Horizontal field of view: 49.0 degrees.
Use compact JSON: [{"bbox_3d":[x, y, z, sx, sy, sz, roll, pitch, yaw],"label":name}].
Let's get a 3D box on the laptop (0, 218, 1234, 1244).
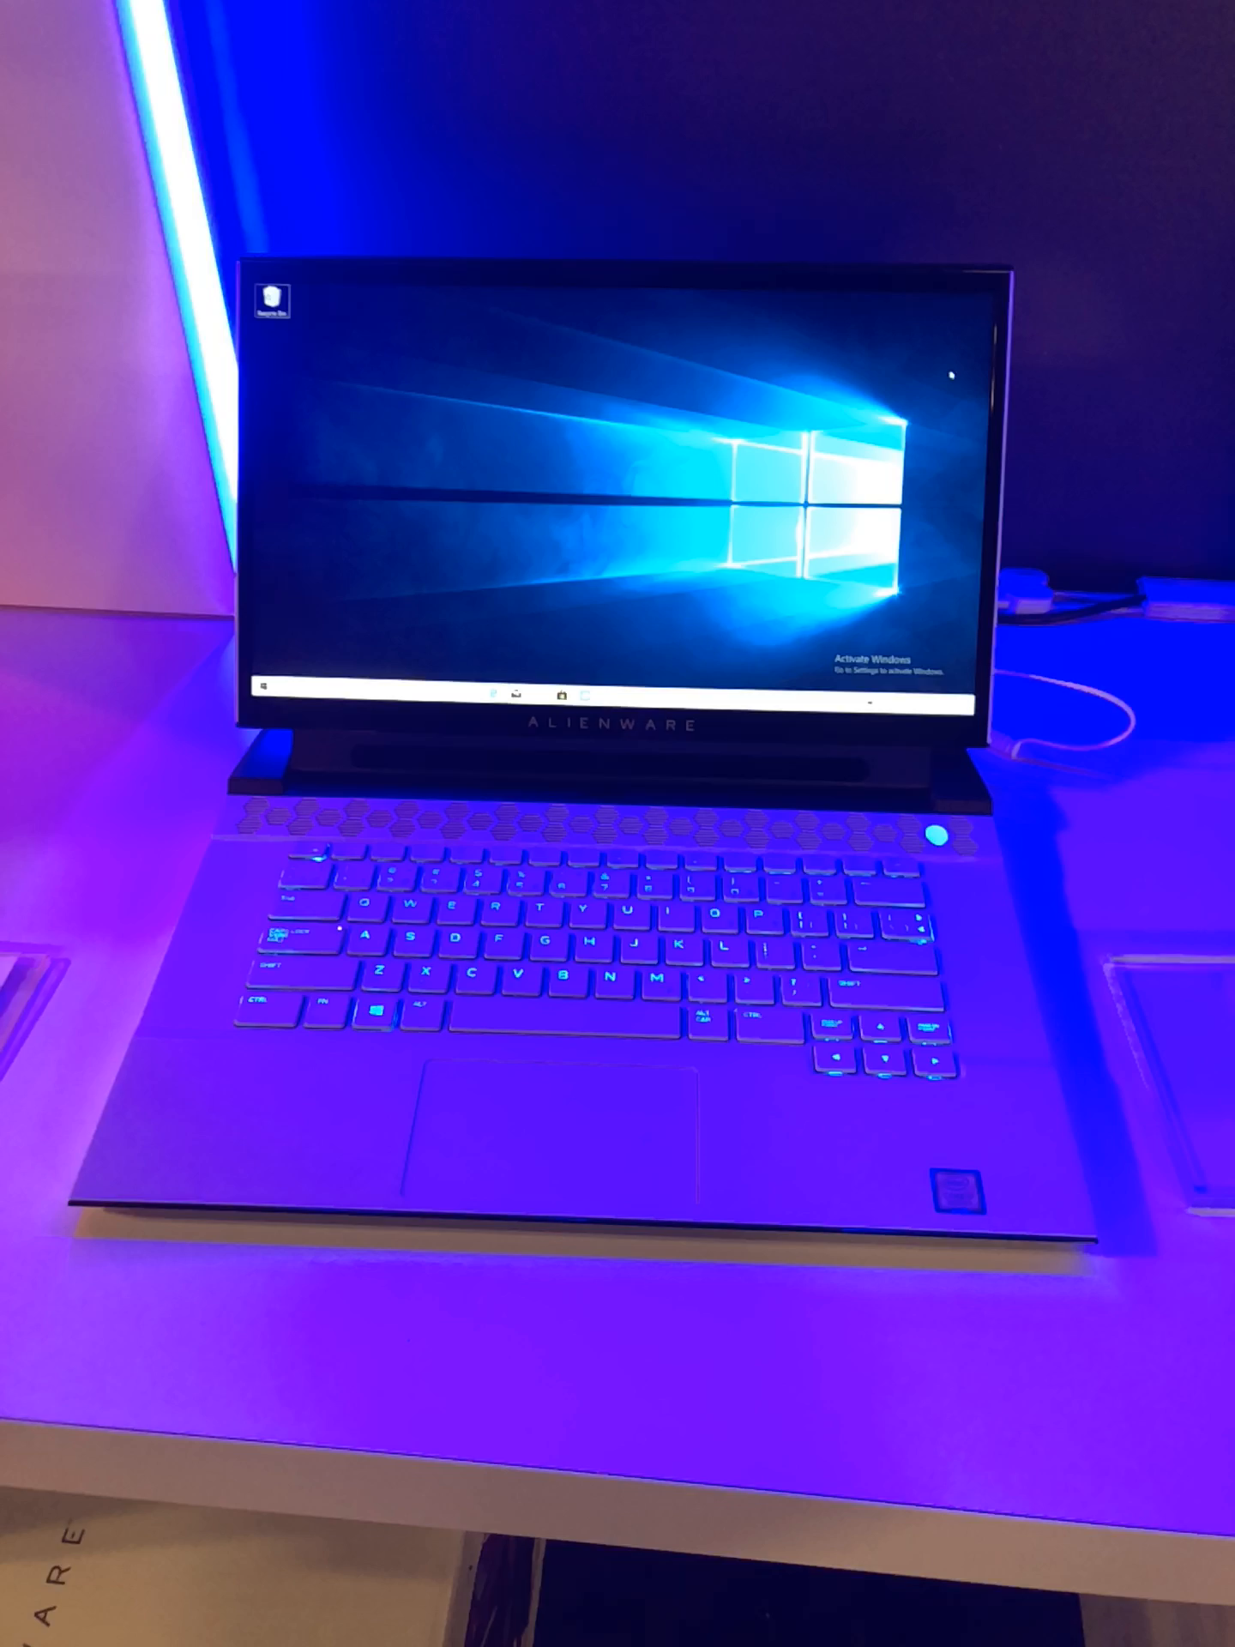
[{"bbox_3d":[-0.008,-0.069,0.553,0.356,0.194,0.381,2,43,2],"label":"laptop"}]
